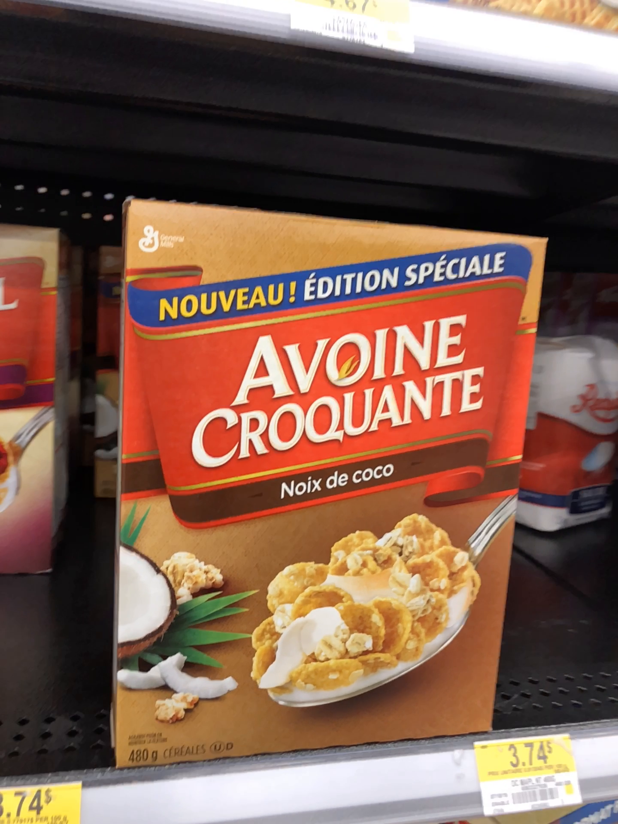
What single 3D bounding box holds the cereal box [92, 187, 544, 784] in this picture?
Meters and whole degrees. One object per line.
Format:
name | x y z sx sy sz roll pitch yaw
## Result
cereal box | -0.001 0.039 0.347 0.200 0.269 0.050 2 10 -14
